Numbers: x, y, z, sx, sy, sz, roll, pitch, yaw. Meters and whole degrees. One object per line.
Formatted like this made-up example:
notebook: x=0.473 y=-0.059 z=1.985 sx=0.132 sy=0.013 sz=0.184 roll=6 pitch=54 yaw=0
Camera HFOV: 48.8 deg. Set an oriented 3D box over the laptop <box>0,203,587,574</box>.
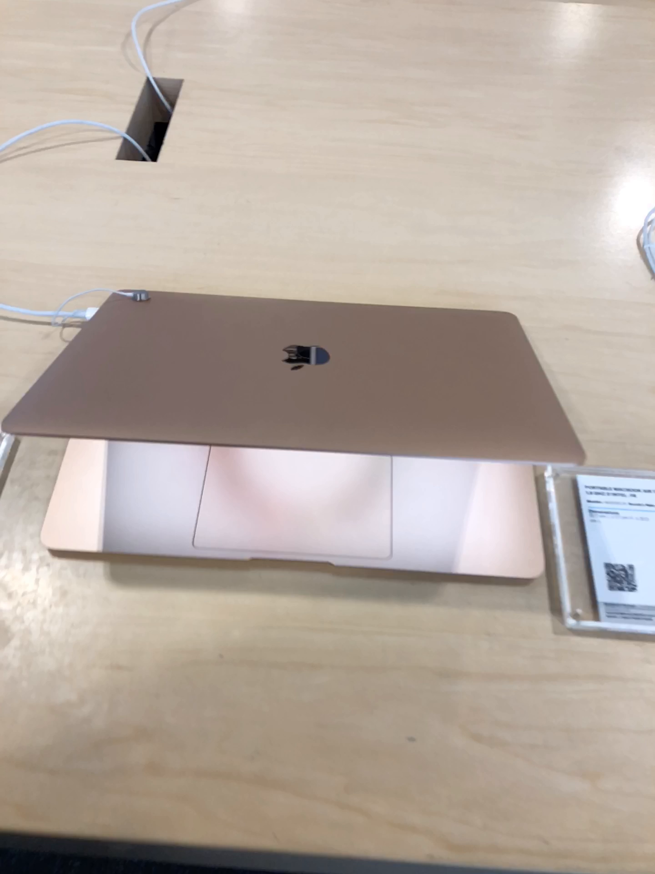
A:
laptop: x=-0.014 y=-0.035 z=0.441 sx=0.288 sy=0.093 sz=0.203 roll=3 pitch=55 yaw=1
